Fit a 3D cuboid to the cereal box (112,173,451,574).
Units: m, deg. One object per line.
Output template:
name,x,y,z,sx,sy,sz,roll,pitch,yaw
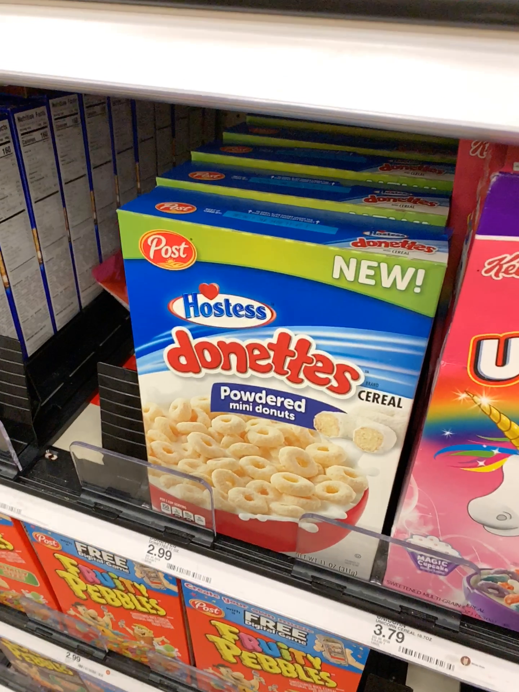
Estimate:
cereal box,0.008,0.030,0.391,0.190,0.269,0.060,13,35,15
